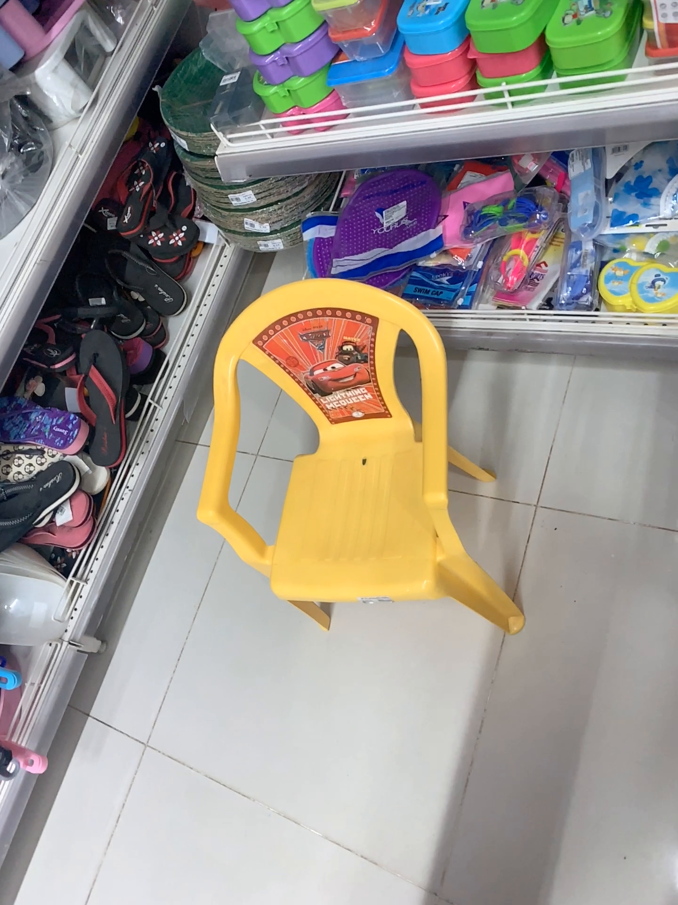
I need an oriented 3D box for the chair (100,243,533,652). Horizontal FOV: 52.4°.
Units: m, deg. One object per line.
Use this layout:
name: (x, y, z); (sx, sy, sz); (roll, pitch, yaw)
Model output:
chair: (0.023, 0.051, 0.989); (0.391, 0.498, 0.370); (-6, 64, 26)
